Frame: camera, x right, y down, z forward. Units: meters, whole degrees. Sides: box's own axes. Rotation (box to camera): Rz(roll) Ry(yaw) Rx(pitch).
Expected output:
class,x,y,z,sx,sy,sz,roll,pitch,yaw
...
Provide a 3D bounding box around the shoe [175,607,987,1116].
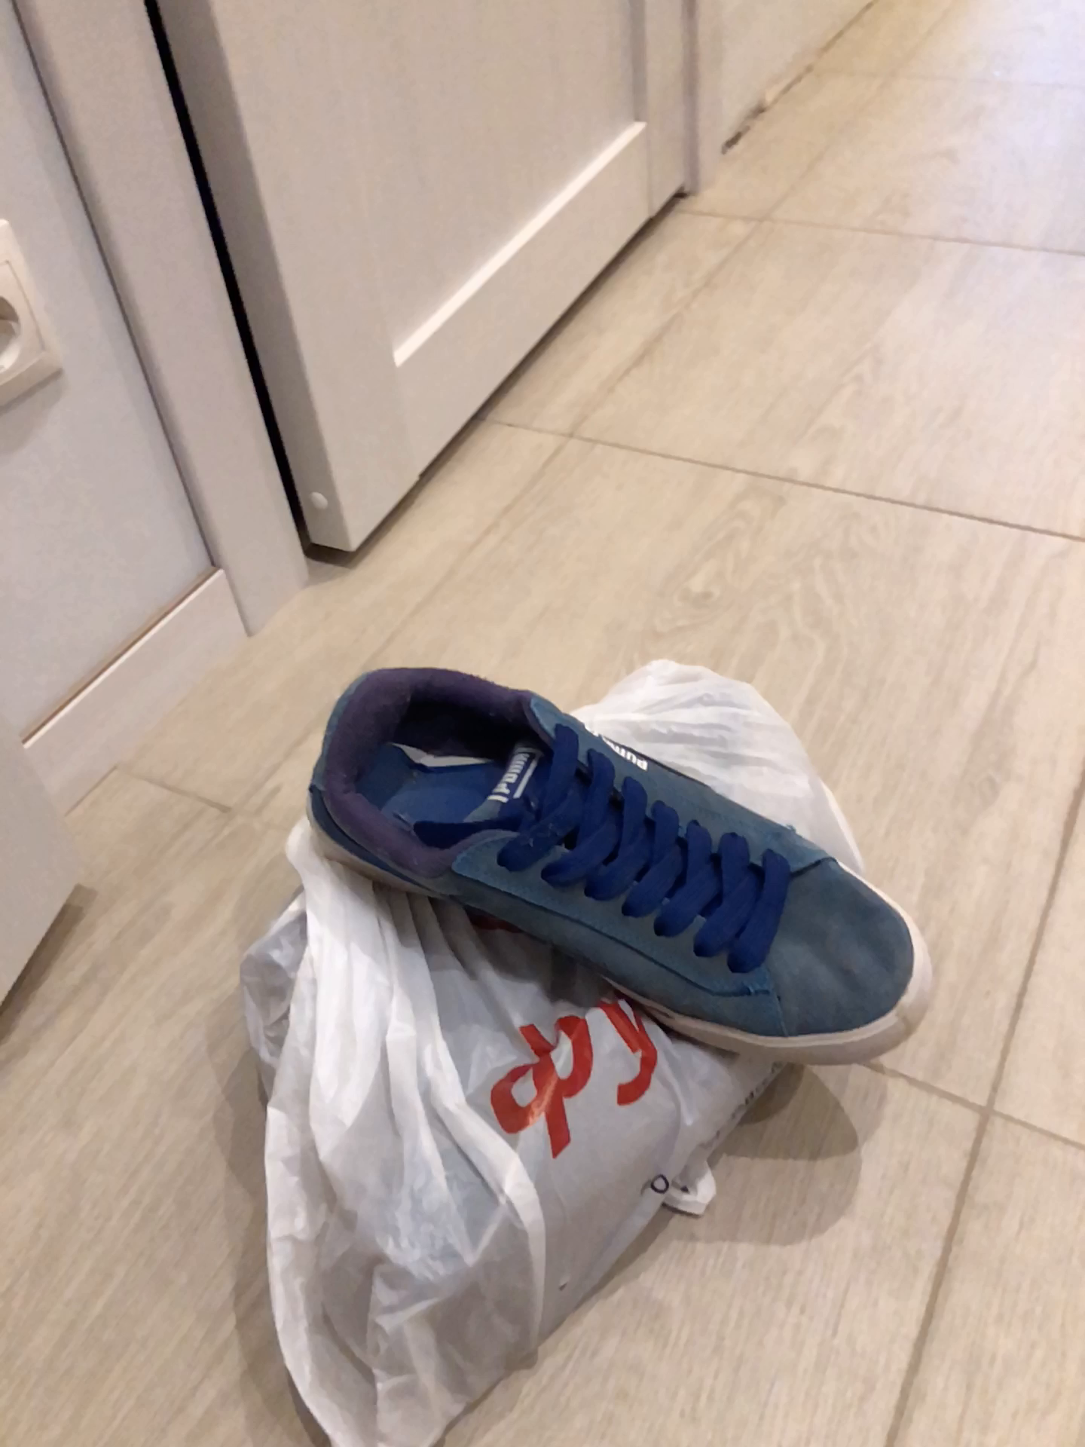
class,x,y,z,sx,sy,sz,roll,pitch,yaw
shoe,0.016,0.049,0.504,0.300,0.099,0.111,12,55,19
